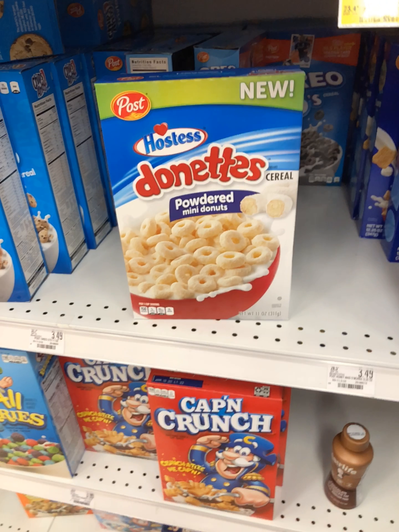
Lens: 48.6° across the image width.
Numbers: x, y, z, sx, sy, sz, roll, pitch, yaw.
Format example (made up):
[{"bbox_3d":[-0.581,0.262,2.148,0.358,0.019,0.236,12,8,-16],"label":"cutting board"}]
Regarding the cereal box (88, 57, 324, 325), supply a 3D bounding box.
[{"bbox_3d":[0.012,-0.061,0.448,0.190,0.259,0.060,0,32,6],"label":"cereal box"}]
